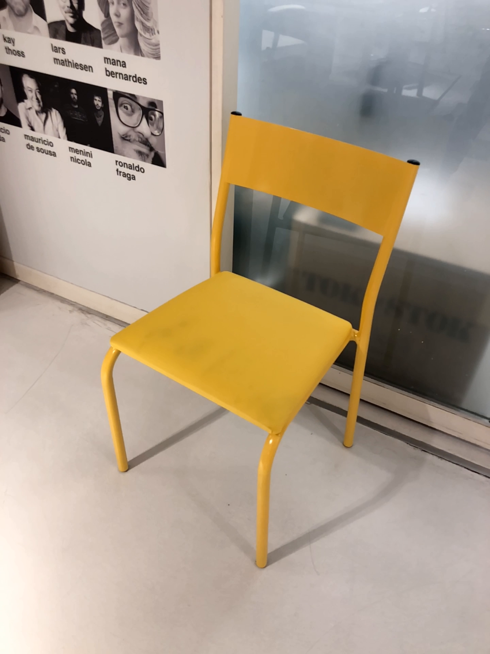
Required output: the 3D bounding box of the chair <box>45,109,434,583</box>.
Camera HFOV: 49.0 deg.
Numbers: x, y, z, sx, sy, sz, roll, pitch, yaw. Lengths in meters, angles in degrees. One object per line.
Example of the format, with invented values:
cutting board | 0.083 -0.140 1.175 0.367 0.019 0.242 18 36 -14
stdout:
chair | 0.000 0.027 1.211 0.491 0.784 0.523 25 43 25
